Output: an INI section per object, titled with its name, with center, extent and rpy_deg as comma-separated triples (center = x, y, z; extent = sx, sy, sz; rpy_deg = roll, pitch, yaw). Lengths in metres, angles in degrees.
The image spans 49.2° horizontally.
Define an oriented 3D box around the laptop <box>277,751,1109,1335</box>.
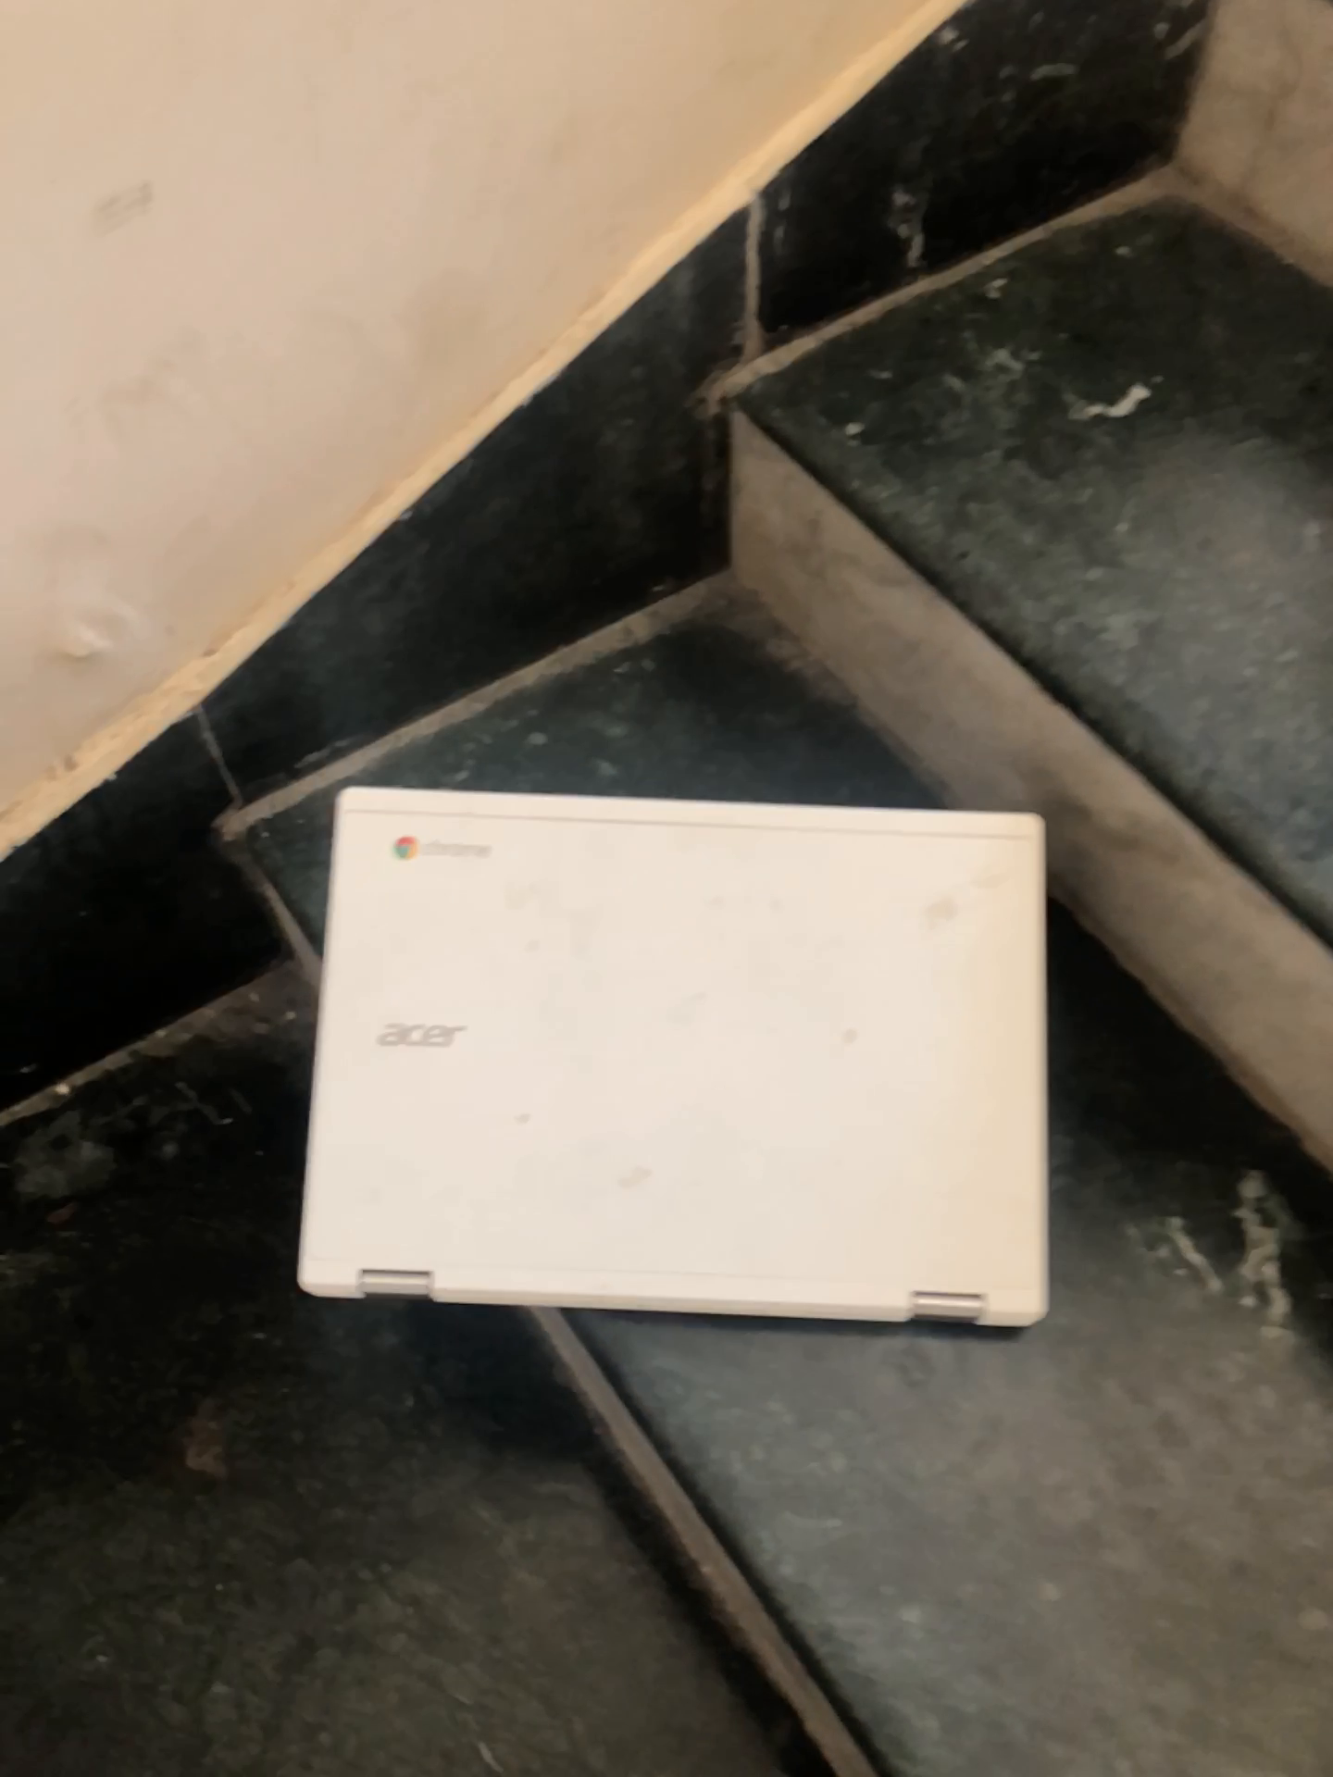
[laptop]
center = 0.009, 0.060, 0.577
extent = 0.282, 0.091, 0.190
rpy_deg = 2, 60, -1
